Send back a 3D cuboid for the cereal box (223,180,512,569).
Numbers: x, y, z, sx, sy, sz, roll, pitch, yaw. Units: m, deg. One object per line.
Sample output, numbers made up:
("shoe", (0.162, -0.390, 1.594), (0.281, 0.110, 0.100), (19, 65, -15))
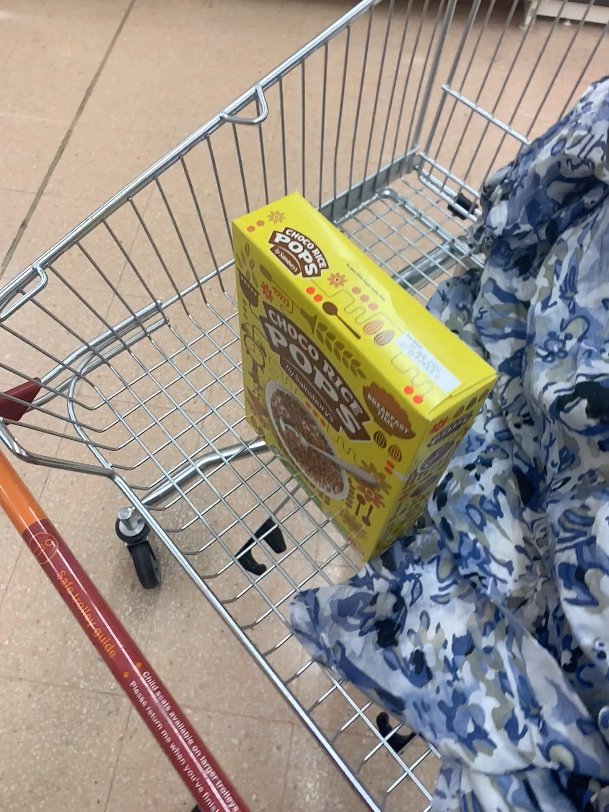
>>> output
("cereal box", (0.023, -0.004, 0.501), (0.060, 0.268, 0.201), (-34, 68, -22))
